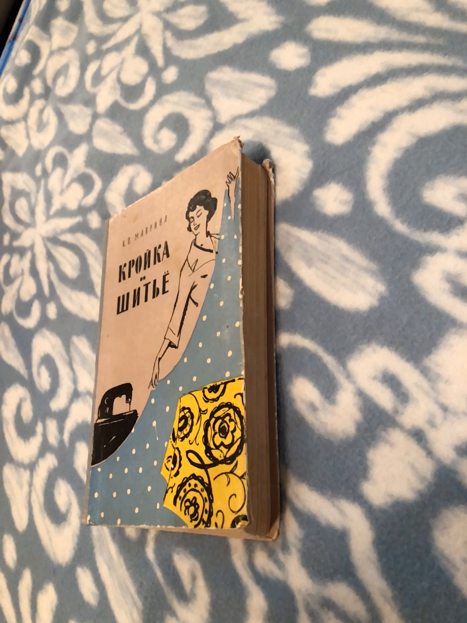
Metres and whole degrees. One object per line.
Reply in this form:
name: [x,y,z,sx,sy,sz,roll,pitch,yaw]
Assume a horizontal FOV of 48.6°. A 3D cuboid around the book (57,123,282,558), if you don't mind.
book: [-0.042,0.020,0.325,0.152,0.037,0.231,-19,62,42]
